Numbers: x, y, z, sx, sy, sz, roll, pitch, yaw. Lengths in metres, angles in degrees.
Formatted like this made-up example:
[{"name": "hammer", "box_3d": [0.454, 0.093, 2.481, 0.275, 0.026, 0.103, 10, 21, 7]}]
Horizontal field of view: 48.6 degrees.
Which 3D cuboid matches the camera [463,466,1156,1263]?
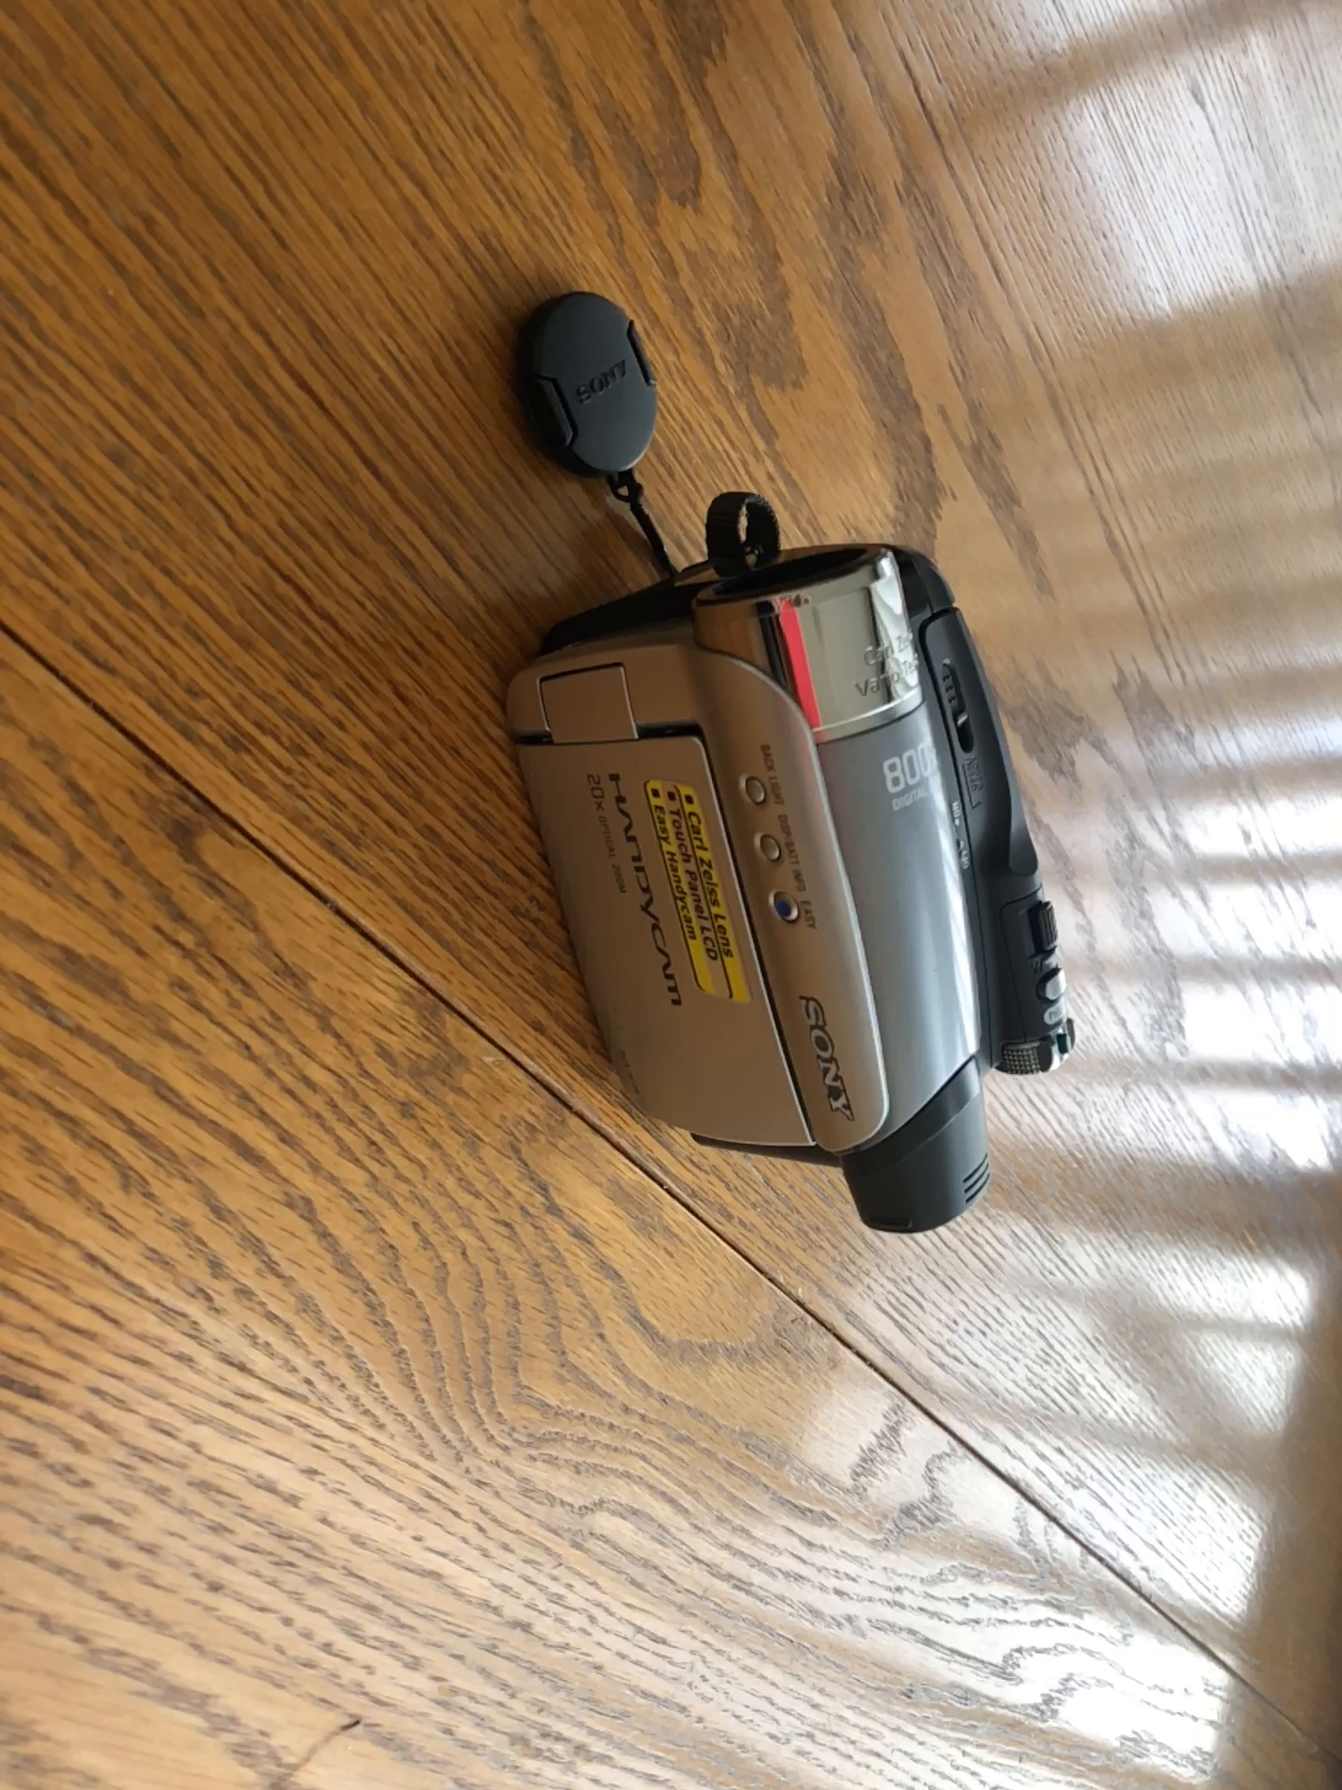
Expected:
[{"name": "camera", "box_3d": [0.031, -0.008, 0.274, 0.080, 0.072, 0.111, -35, 116, -43]}]
